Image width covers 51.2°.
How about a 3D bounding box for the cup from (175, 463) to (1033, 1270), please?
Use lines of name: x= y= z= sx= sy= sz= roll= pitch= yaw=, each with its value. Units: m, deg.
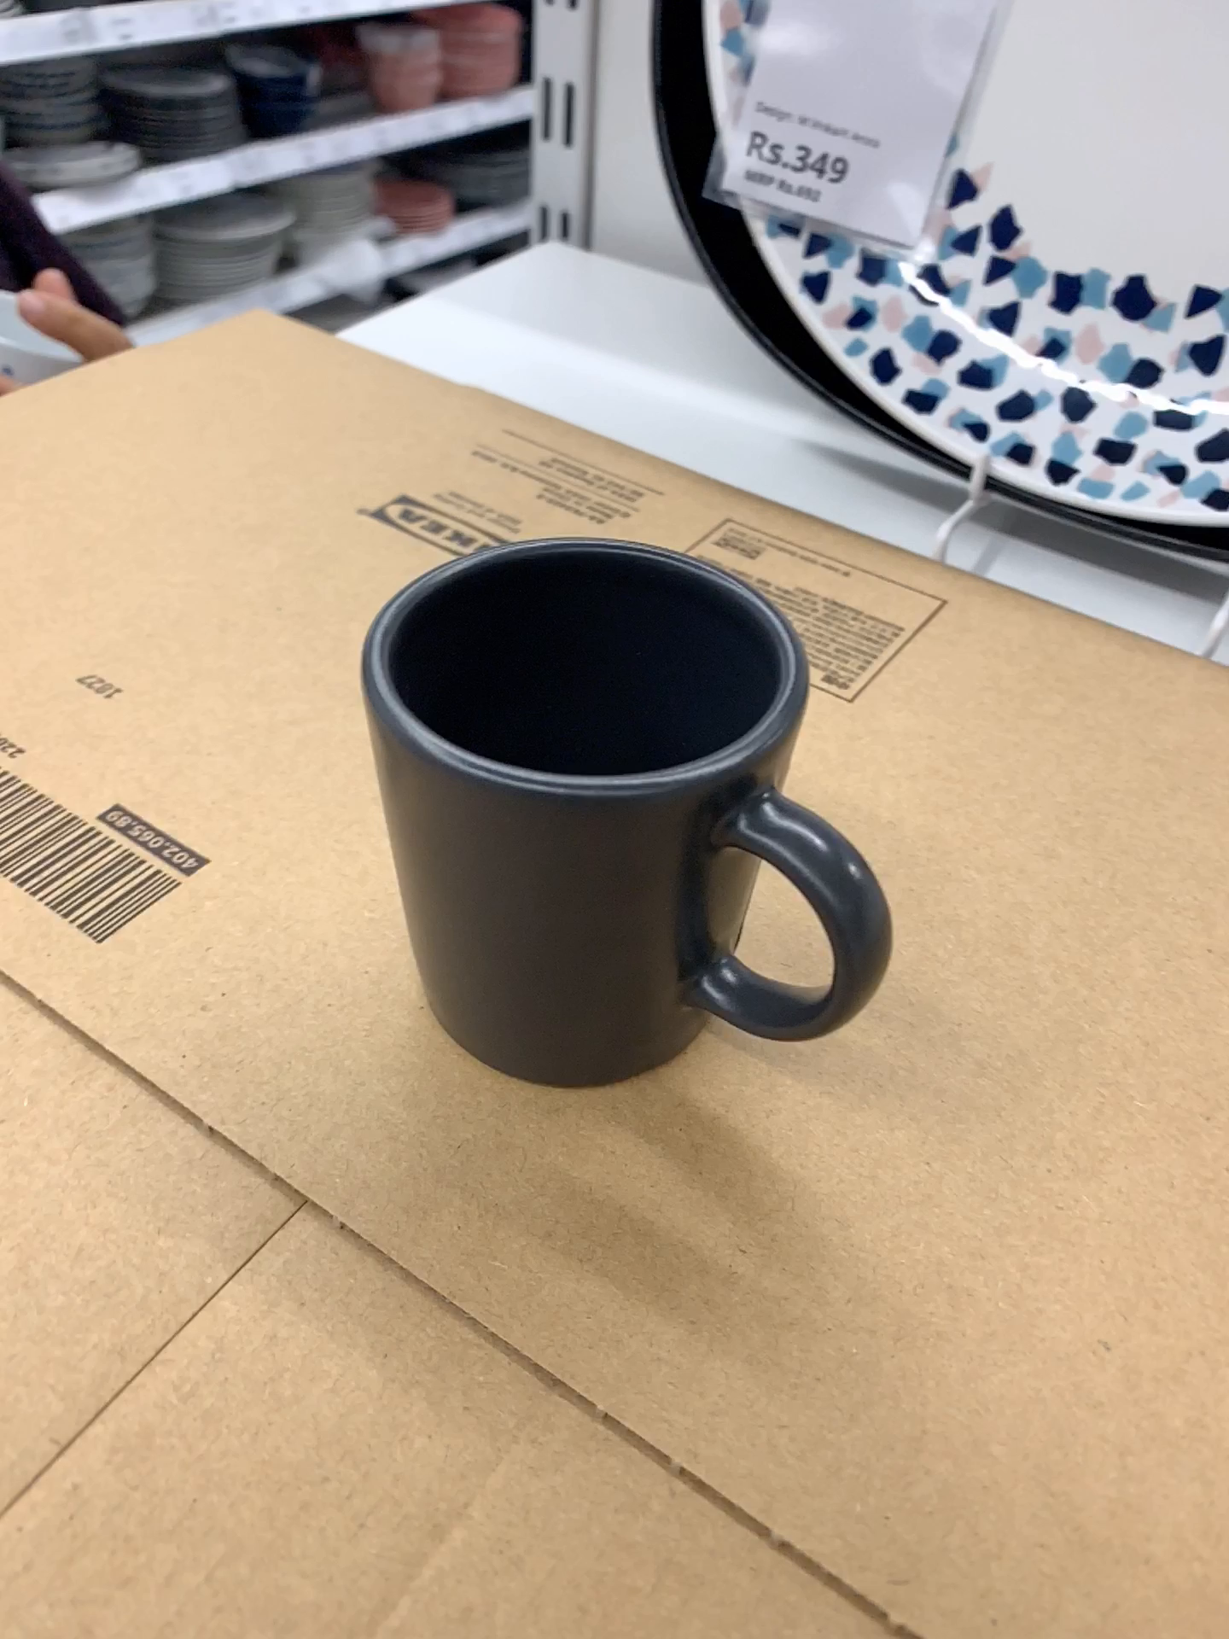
cup: x=-0.002 y=0.001 z=0.181 sx=0.090 sy=0.060 sz=0.060 roll=25 pitch=45 yaw=21
